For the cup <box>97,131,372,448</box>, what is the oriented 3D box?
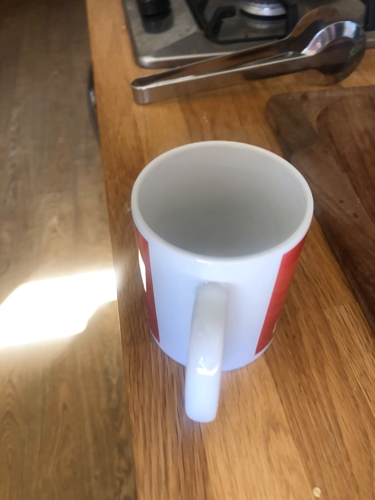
[{"bbox_3d":[0.015,0.018,0.211,0.089,0.094,0.124,3,48,-1],"label":"cup"}]
